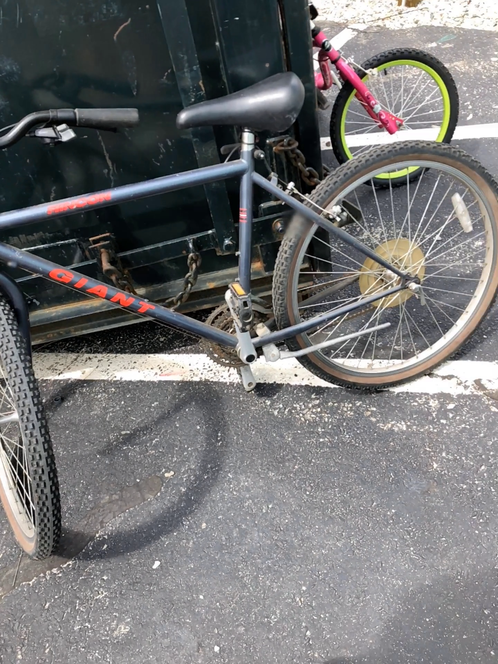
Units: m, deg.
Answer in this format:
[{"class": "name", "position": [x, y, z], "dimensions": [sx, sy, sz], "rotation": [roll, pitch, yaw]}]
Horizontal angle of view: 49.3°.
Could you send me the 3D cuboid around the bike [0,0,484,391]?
[{"class": "bike", "position": [-0.281, -0.379, 1.361], "dimensions": [1.097, 0.833, 0.638], "rotation": [-8, 49, 3]}]
